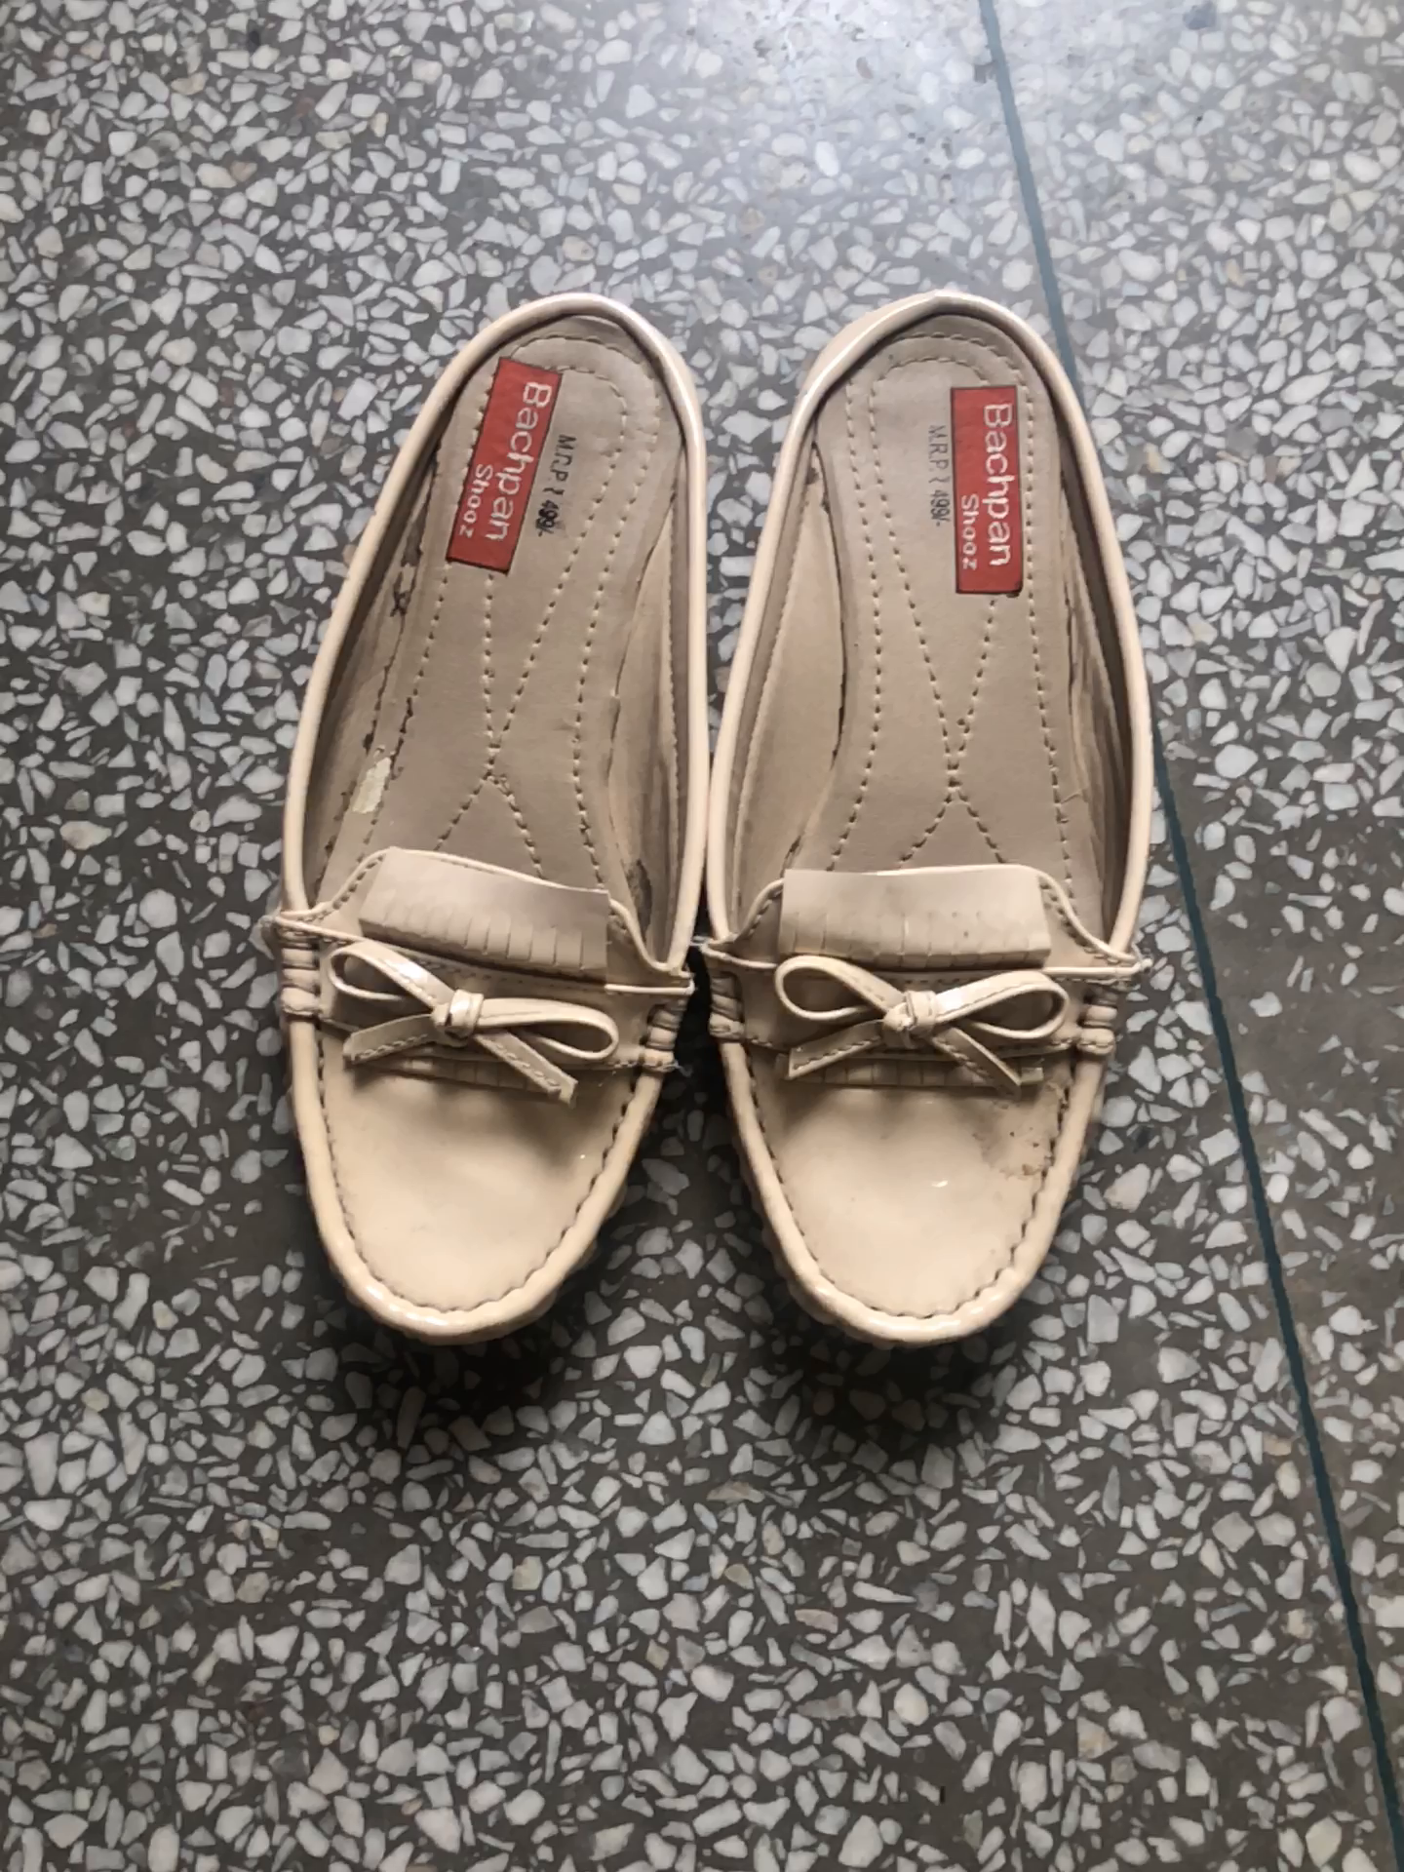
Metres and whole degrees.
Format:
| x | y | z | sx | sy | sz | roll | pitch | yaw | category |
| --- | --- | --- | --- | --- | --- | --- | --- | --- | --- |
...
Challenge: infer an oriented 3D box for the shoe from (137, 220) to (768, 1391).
| x | y | z | sx | sy | sz | roll | pitch | yaw | category |
| --- | --- | --- | --- | --- | --- | --- | --- | --- | --- |
| -0.046 | -0.028 | 0.322 | 0.090 | 0.040 | 0.220 | 8 | 84 | 2 | shoe |

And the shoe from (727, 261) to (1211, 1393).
| x | y | z | sx | sy | sz | roll | pitch | yaw | category |
| --- | --- | --- | --- | --- | --- | --- | --- | --- | --- |
| 0.052 | -0.023 | 0.312 | 0.080 | 0.040 | 0.210 | 4 | 84 | 1 | shoe |
